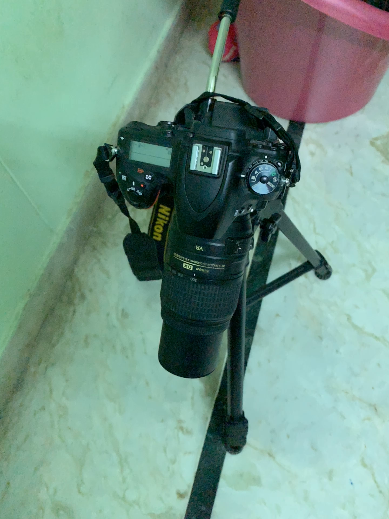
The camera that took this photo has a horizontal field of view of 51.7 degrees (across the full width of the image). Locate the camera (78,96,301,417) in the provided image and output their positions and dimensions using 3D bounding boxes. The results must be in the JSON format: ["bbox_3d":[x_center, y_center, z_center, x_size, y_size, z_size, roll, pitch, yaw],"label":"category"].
[{"bbox_3d":[-0.003,-0.010,0.340,0.130,0.214,0.116,14,20,11],"label":"camera"}]
